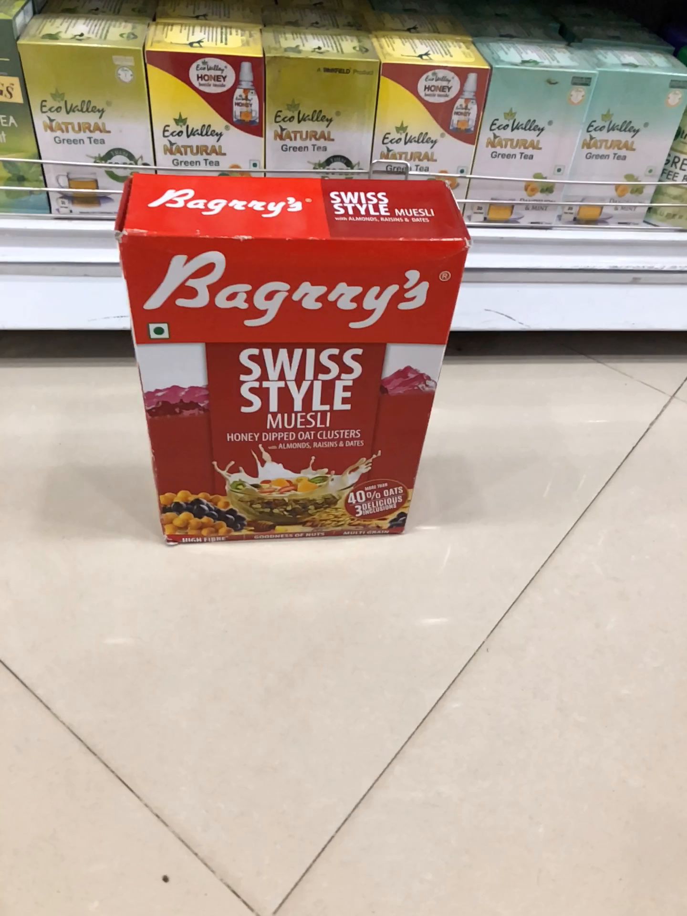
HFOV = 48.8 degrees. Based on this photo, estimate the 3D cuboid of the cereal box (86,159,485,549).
[{"bbox_3d":[-0.038,-0.054,0.496,0.200,0.248,0.080,-2,45,-7],"label":"cereal box"}]
